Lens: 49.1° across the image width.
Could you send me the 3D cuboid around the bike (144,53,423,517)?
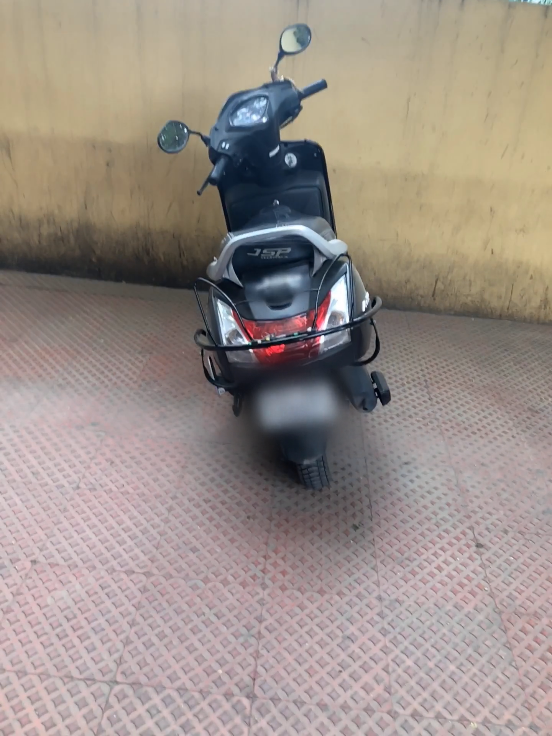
[{"bbox_3d":[-0.021,-0.435,2.155,0.578,1.138,1.491,4,28,-2],"label":"bike"}]
